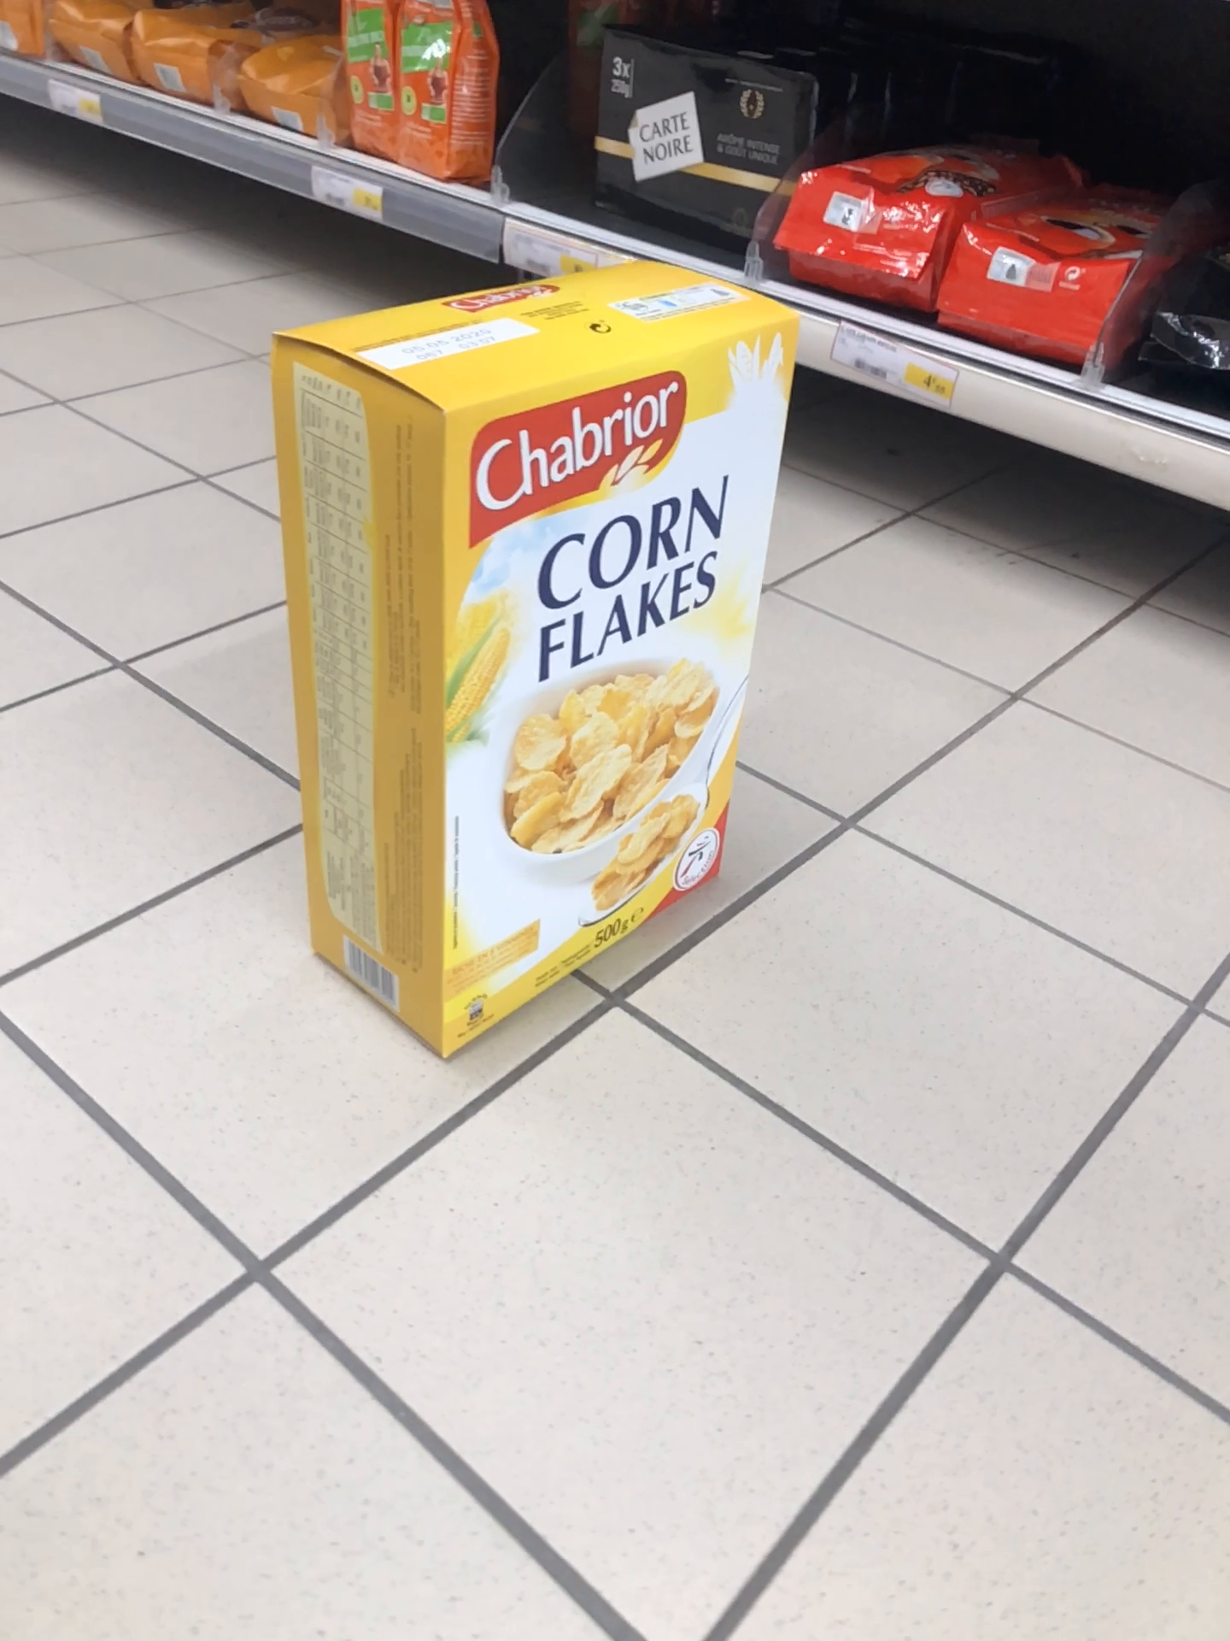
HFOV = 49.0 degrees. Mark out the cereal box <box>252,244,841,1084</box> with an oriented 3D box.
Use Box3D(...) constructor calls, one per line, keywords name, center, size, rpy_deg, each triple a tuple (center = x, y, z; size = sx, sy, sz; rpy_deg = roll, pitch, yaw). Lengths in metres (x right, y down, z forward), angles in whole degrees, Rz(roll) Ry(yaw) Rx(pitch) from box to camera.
Box3D(name="cereal box", center=(-0.030, -0.072, 0.609), size=(0.110, 0.308, 0.211), rpy_deg=(31, 43, 31))
